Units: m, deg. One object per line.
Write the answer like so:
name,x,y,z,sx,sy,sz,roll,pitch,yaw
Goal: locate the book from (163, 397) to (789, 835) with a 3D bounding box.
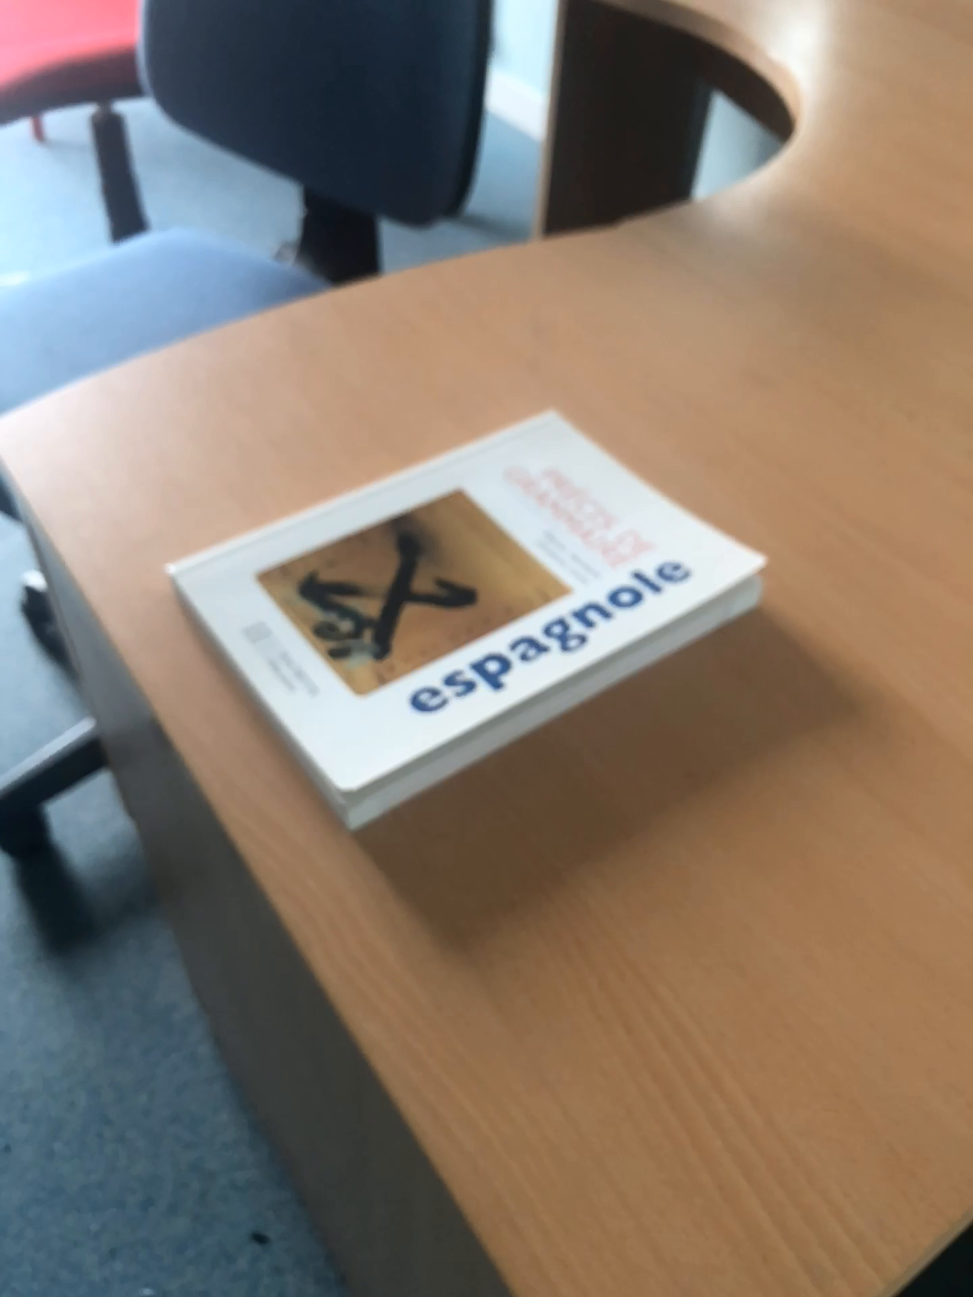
book,-0.005,-0.035,0.529,0.241,0.020,0.180,-27,52,-25
